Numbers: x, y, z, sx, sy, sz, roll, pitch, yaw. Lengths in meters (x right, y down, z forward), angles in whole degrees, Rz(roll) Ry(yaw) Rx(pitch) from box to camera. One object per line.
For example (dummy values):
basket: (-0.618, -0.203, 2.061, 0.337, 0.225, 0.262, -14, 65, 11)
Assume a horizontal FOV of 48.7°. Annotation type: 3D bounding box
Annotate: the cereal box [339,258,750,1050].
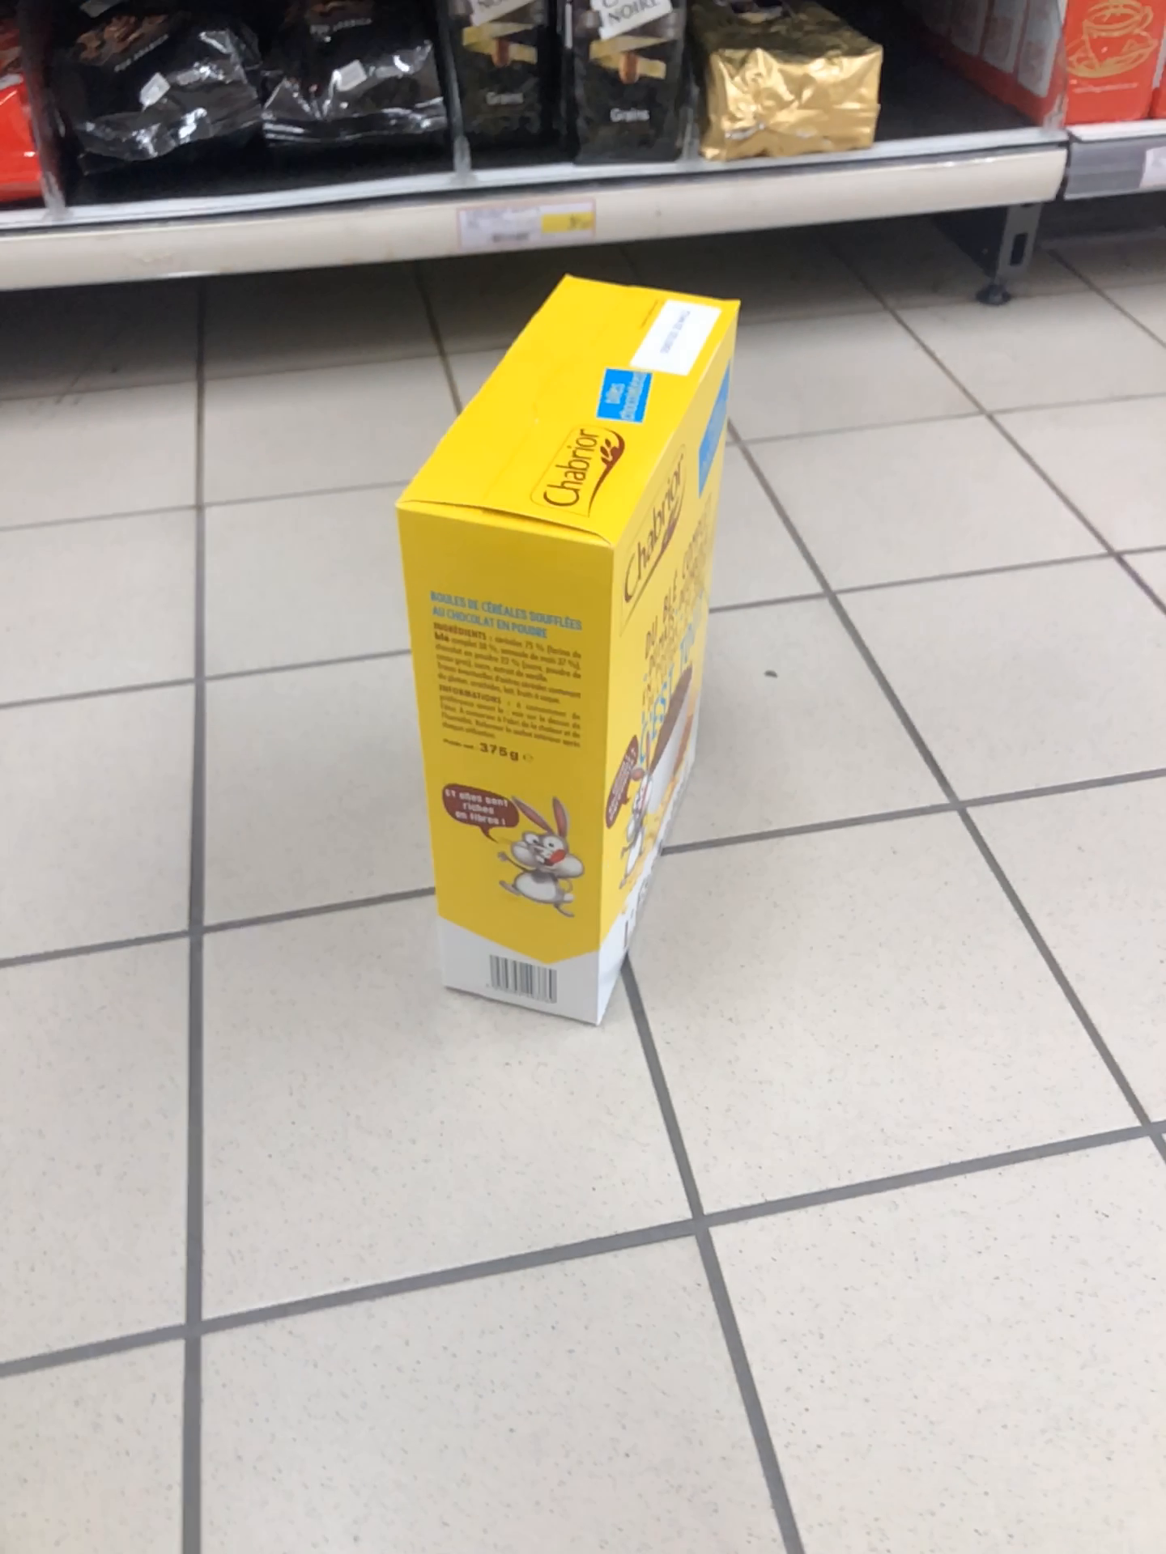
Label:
cereal box: (-0.003, -0.051, 0.566, 0.090, 0.268, 0.201, 12, 44, 14)
